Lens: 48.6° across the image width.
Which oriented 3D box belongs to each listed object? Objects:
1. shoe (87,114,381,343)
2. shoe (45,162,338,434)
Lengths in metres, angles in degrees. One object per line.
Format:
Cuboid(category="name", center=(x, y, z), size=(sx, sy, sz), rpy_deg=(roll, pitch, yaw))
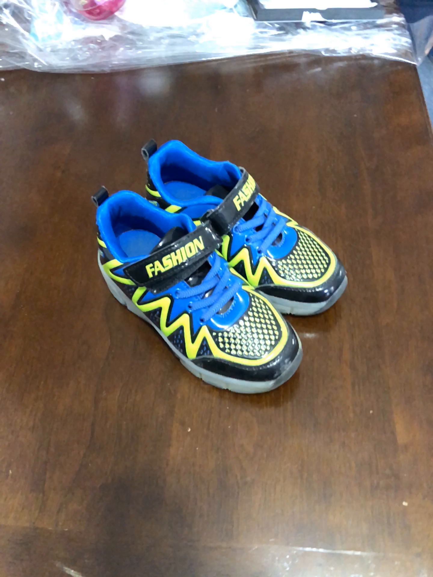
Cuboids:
Cuboid(category="shoe", center=(0.014, -0.058, 0.448), size=(0.230, 0.120, 0.090), rpy_deg=(23, 62, 20))
Cuboid(category="shoe", center=(-0.021, 0.004, 0.414), size=(0.210, 0.120, 0.100), rpy_deg=(32, 65, 24))
